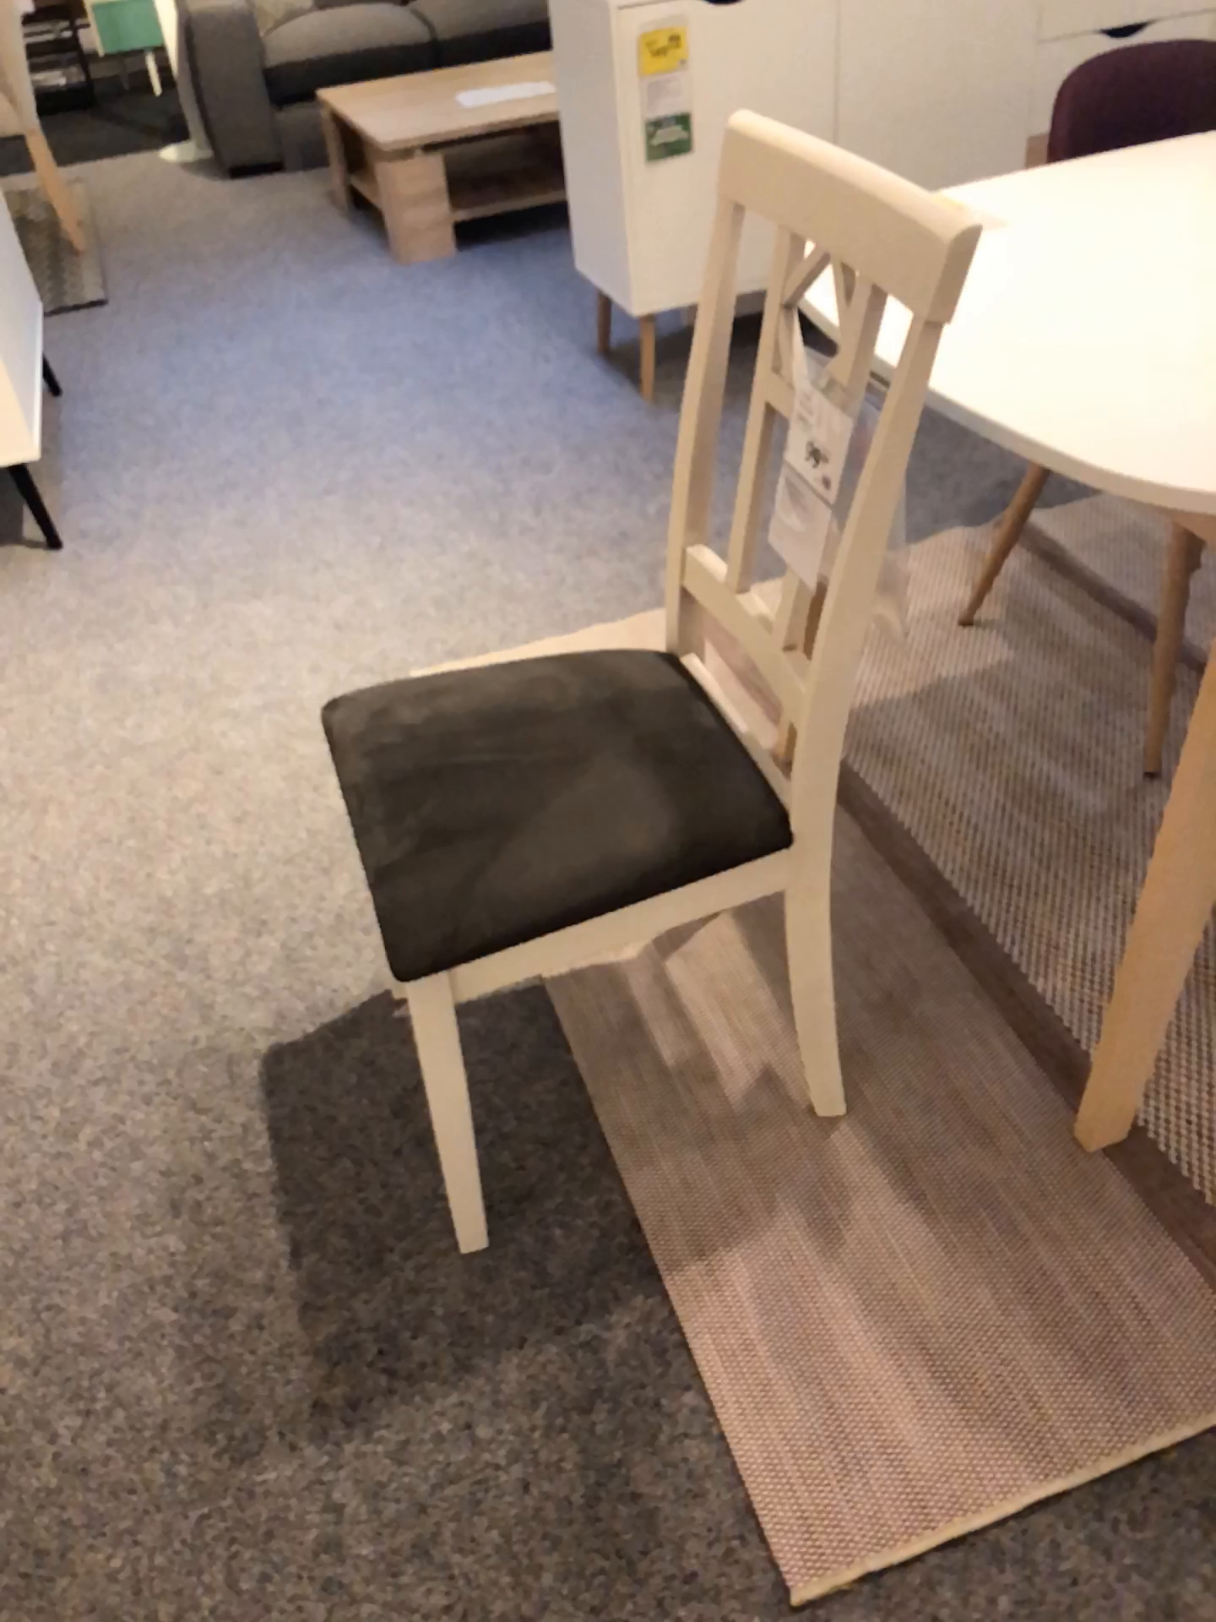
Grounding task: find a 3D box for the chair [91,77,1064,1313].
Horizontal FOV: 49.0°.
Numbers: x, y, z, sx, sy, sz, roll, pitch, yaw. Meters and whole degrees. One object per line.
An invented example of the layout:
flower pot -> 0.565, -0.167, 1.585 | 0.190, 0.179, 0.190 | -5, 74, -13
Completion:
chair -> -0.034, -0.096, 1.195 | 0.561, 0.855, 0.512 | -15, 39, -10
